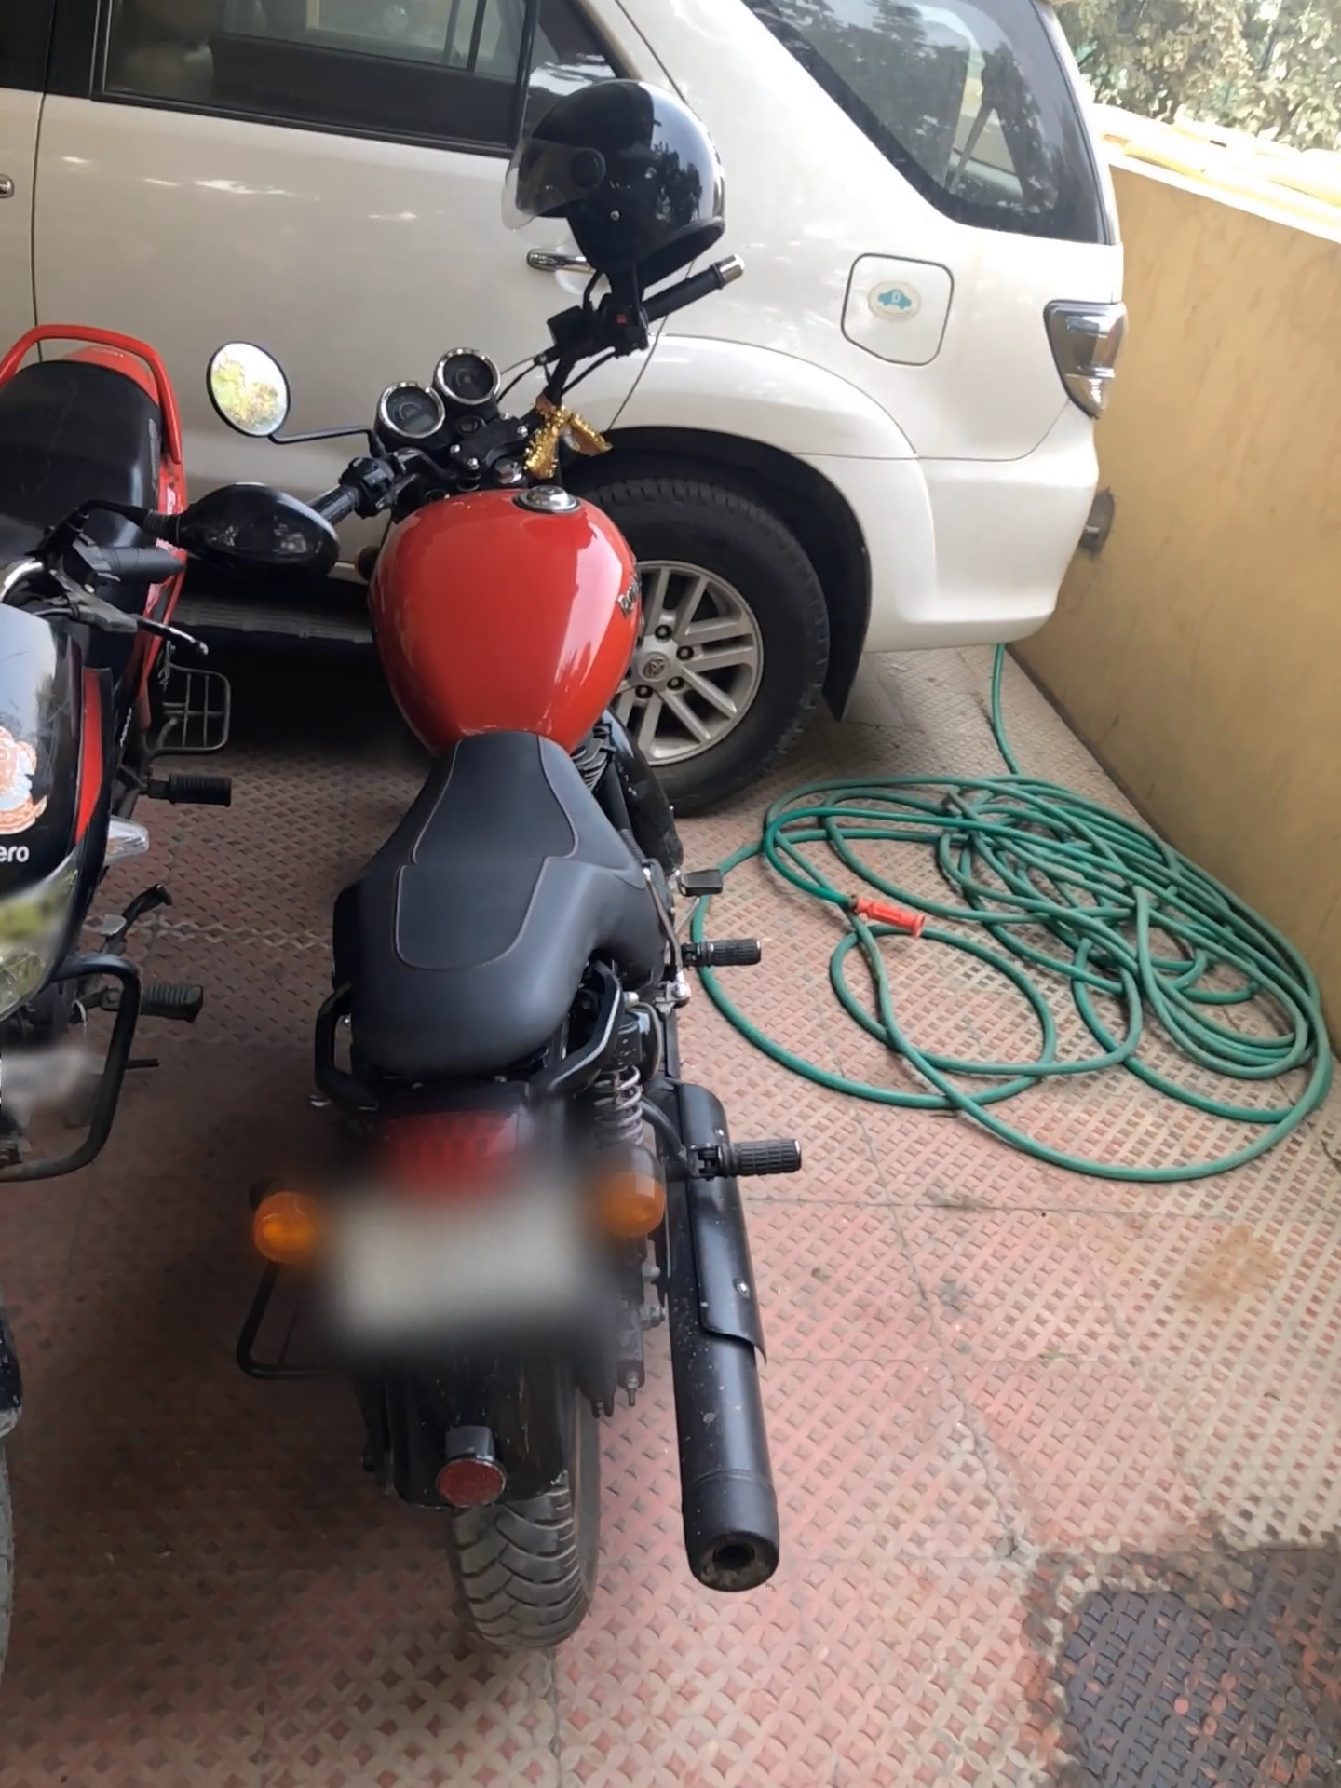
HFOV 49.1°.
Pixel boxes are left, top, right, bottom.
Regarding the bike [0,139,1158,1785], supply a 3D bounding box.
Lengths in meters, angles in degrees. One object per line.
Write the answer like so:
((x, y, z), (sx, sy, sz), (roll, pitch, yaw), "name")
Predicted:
((-0.320, -0.097, 1.879), (0.820, 1.270, 1.722), (6, 31, -11), "bike")
